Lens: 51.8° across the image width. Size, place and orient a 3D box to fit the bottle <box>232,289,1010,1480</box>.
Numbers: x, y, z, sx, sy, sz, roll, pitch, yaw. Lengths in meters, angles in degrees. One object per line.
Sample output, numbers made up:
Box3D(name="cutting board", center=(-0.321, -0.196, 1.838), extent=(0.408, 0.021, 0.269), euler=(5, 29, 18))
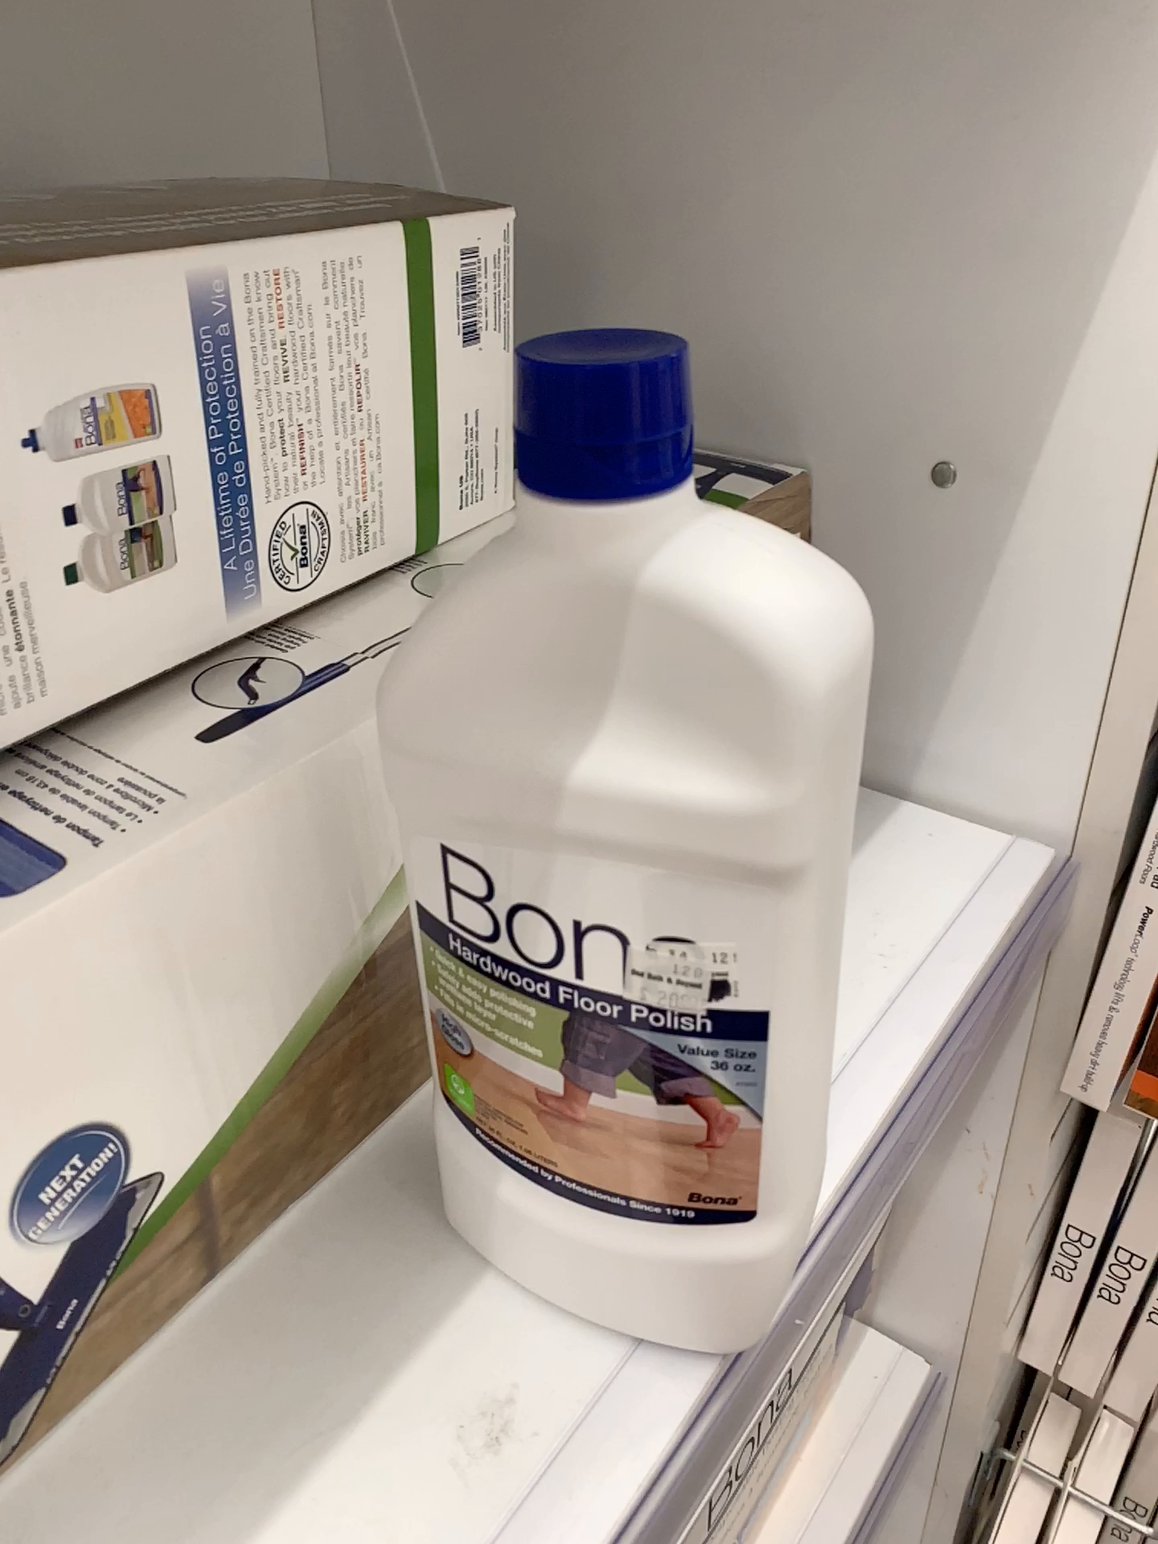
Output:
Box3D(name="bottle", center=(0.011, 0.034, 0.278), extent=(0.120, 0.259, 0.070), euler=(13, 34, 22))
